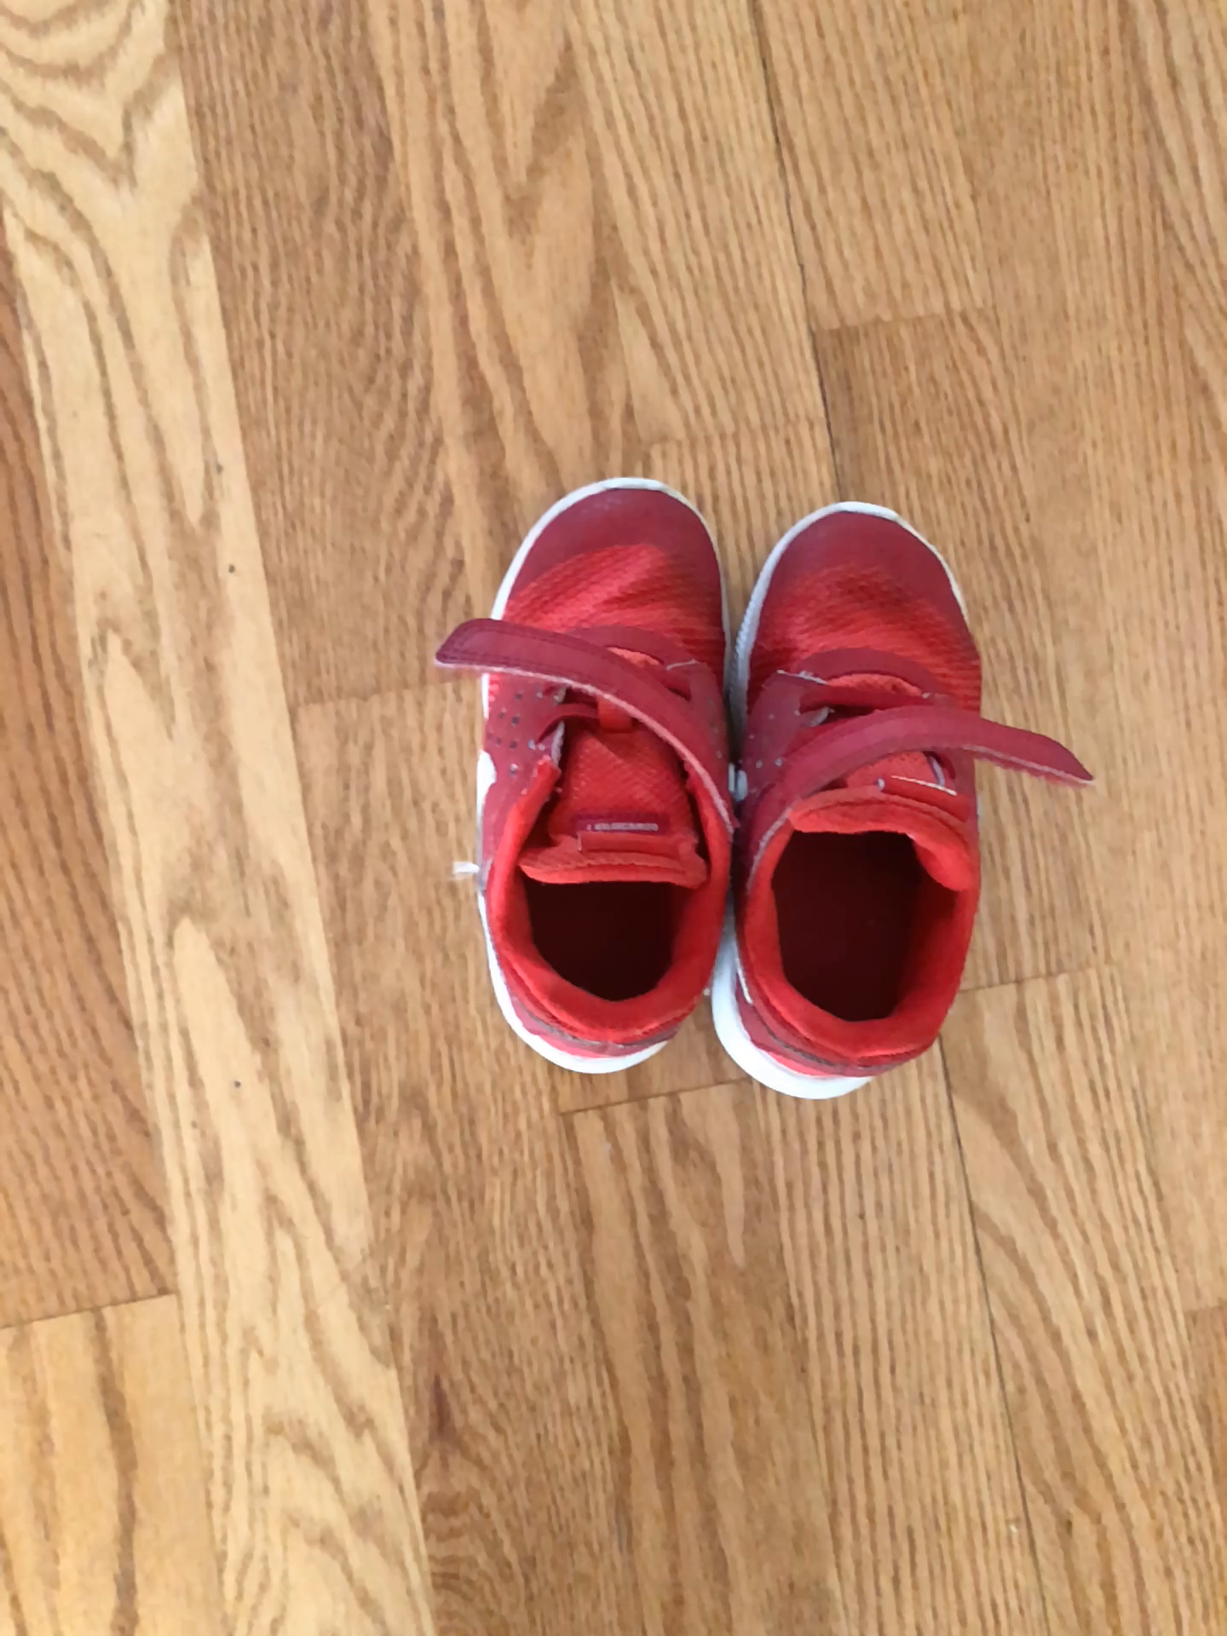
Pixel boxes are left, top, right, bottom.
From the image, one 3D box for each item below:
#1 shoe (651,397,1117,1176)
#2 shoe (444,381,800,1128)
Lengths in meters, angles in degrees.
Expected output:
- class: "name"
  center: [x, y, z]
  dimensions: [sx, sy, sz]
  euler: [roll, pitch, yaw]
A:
- class: "shoe"
  center: [0.067, -0.006, 0.358]
  dimensions: [0.088, 0.069, 0.177]
  euler: [7, 86, -4]
- class: "shoe"
  center: [0.001, -0.014, 0.355]
  dimensions: [0.080, 0.069, 0.175]
  euler: [2, 86, -4]
